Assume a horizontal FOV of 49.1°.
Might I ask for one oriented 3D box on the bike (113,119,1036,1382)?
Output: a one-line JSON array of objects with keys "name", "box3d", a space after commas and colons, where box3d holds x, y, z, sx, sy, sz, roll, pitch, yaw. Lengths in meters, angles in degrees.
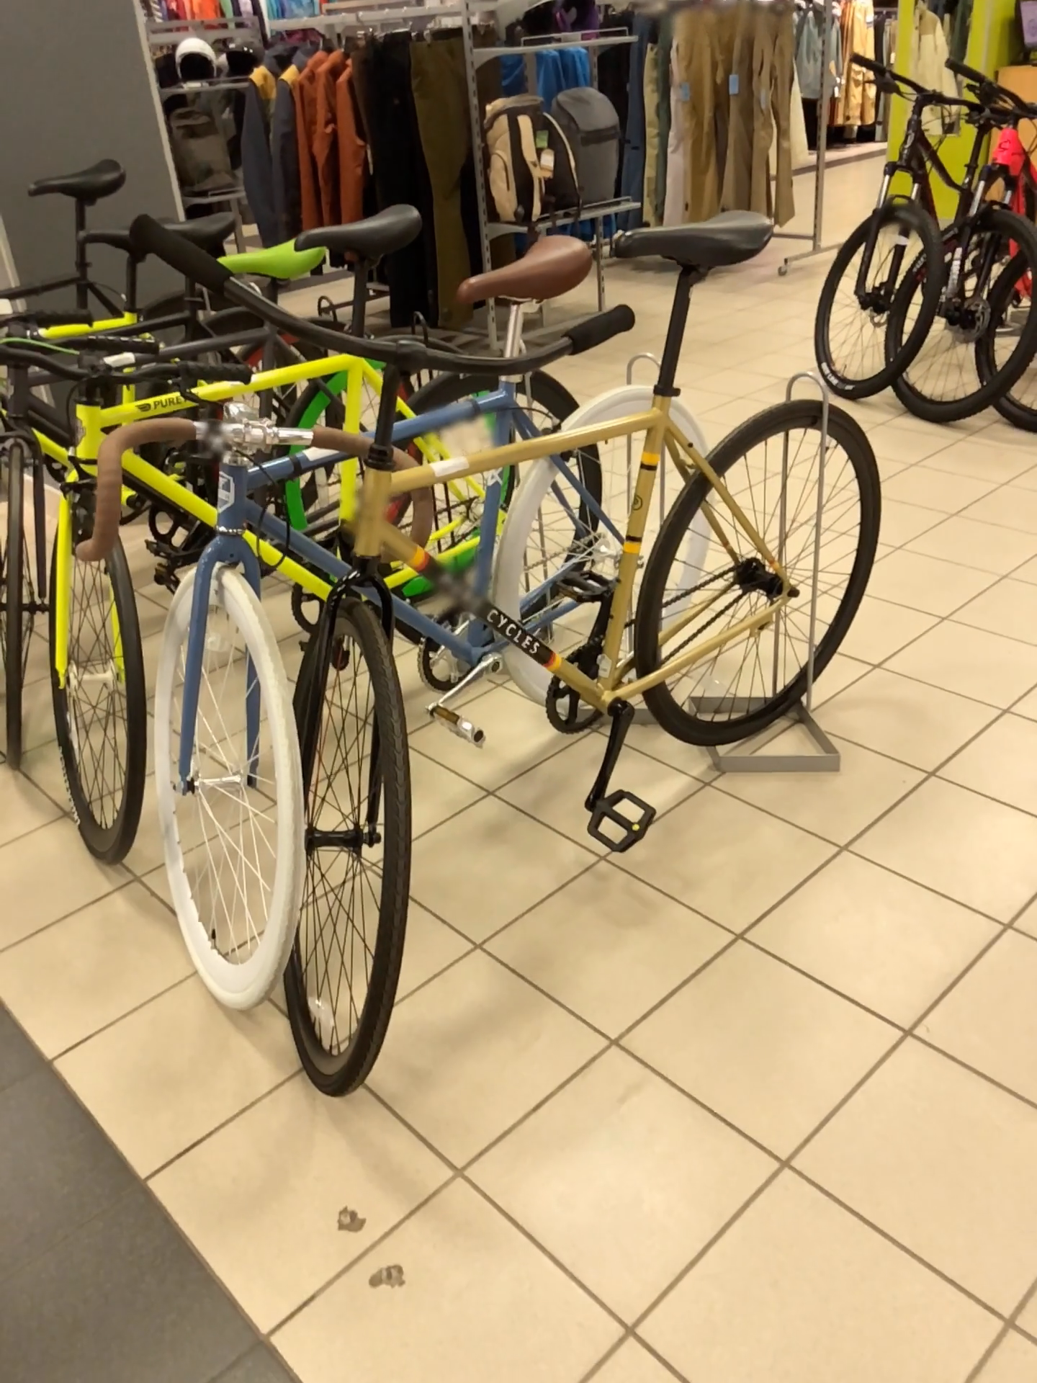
[{"name": "bike", "box3d": [0.245, -0.090, 1.756, 0.674, 1.091, 1.469, 16, 40, 34]}]
